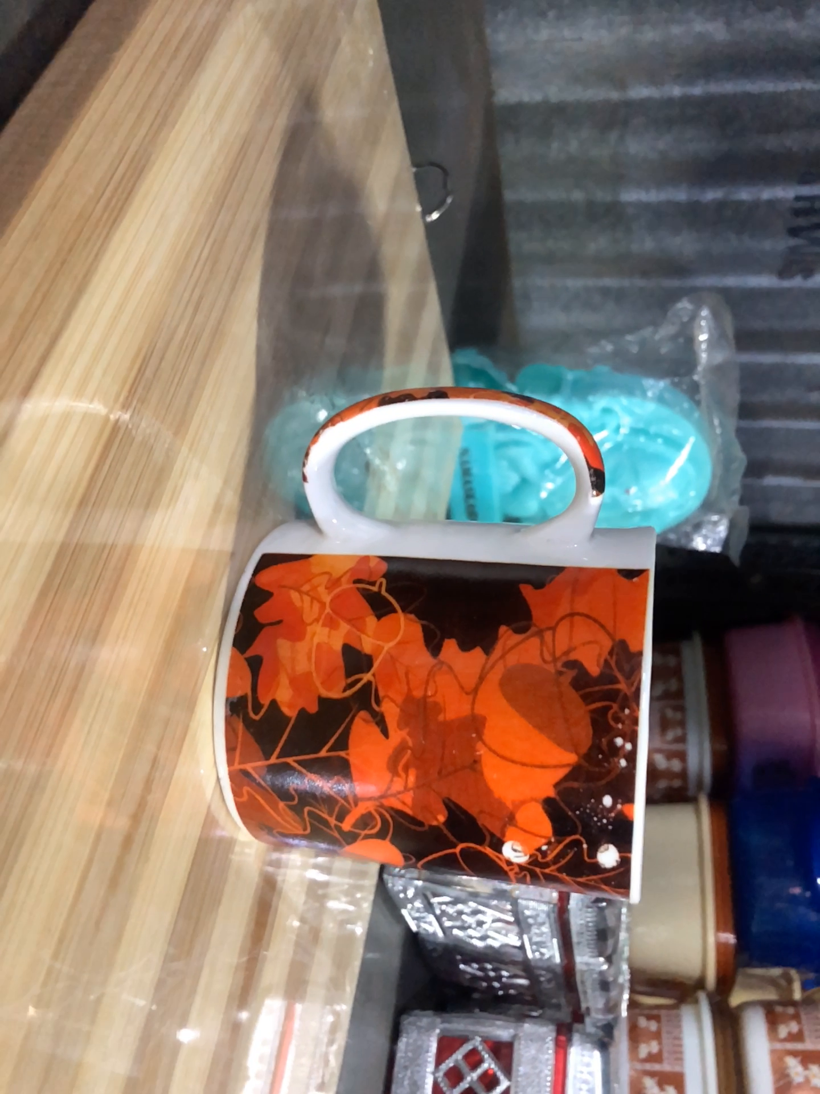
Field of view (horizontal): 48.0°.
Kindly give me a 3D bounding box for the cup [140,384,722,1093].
[{"bbox_3d":[0.012,0.031,0.180,0.080,0.080,0.110,-59,149,-65],"label":"cup"}]
